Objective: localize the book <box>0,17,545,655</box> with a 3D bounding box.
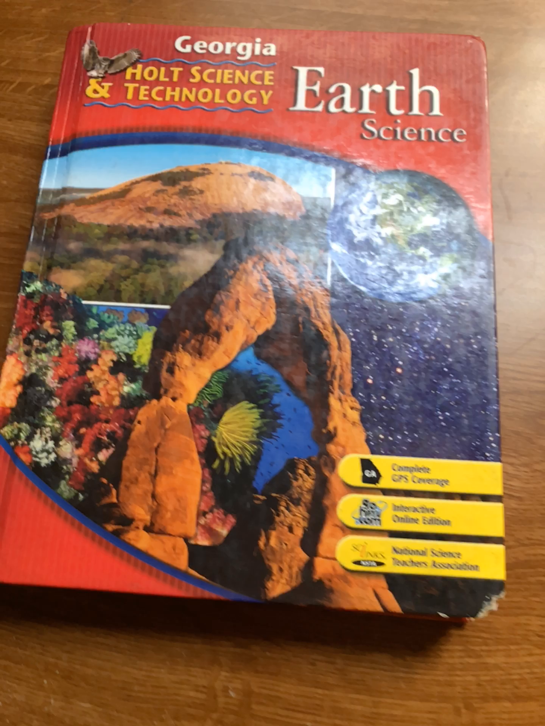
[{"bbox_3d":[-0.002,-0.026,0.275,0.214,0.050,0.266,4,74,3],"label":"book"}]
